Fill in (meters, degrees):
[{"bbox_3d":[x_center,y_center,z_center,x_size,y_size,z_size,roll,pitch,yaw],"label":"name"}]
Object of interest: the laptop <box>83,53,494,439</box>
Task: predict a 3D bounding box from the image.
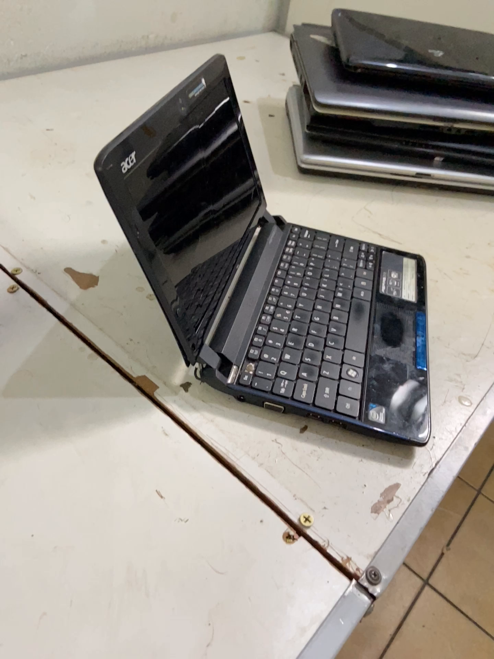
[{"bbox_3d":[0.050,-0.090,0.424,0.259,0.144,0.254,16,43,4],"label":"laptop"}]
